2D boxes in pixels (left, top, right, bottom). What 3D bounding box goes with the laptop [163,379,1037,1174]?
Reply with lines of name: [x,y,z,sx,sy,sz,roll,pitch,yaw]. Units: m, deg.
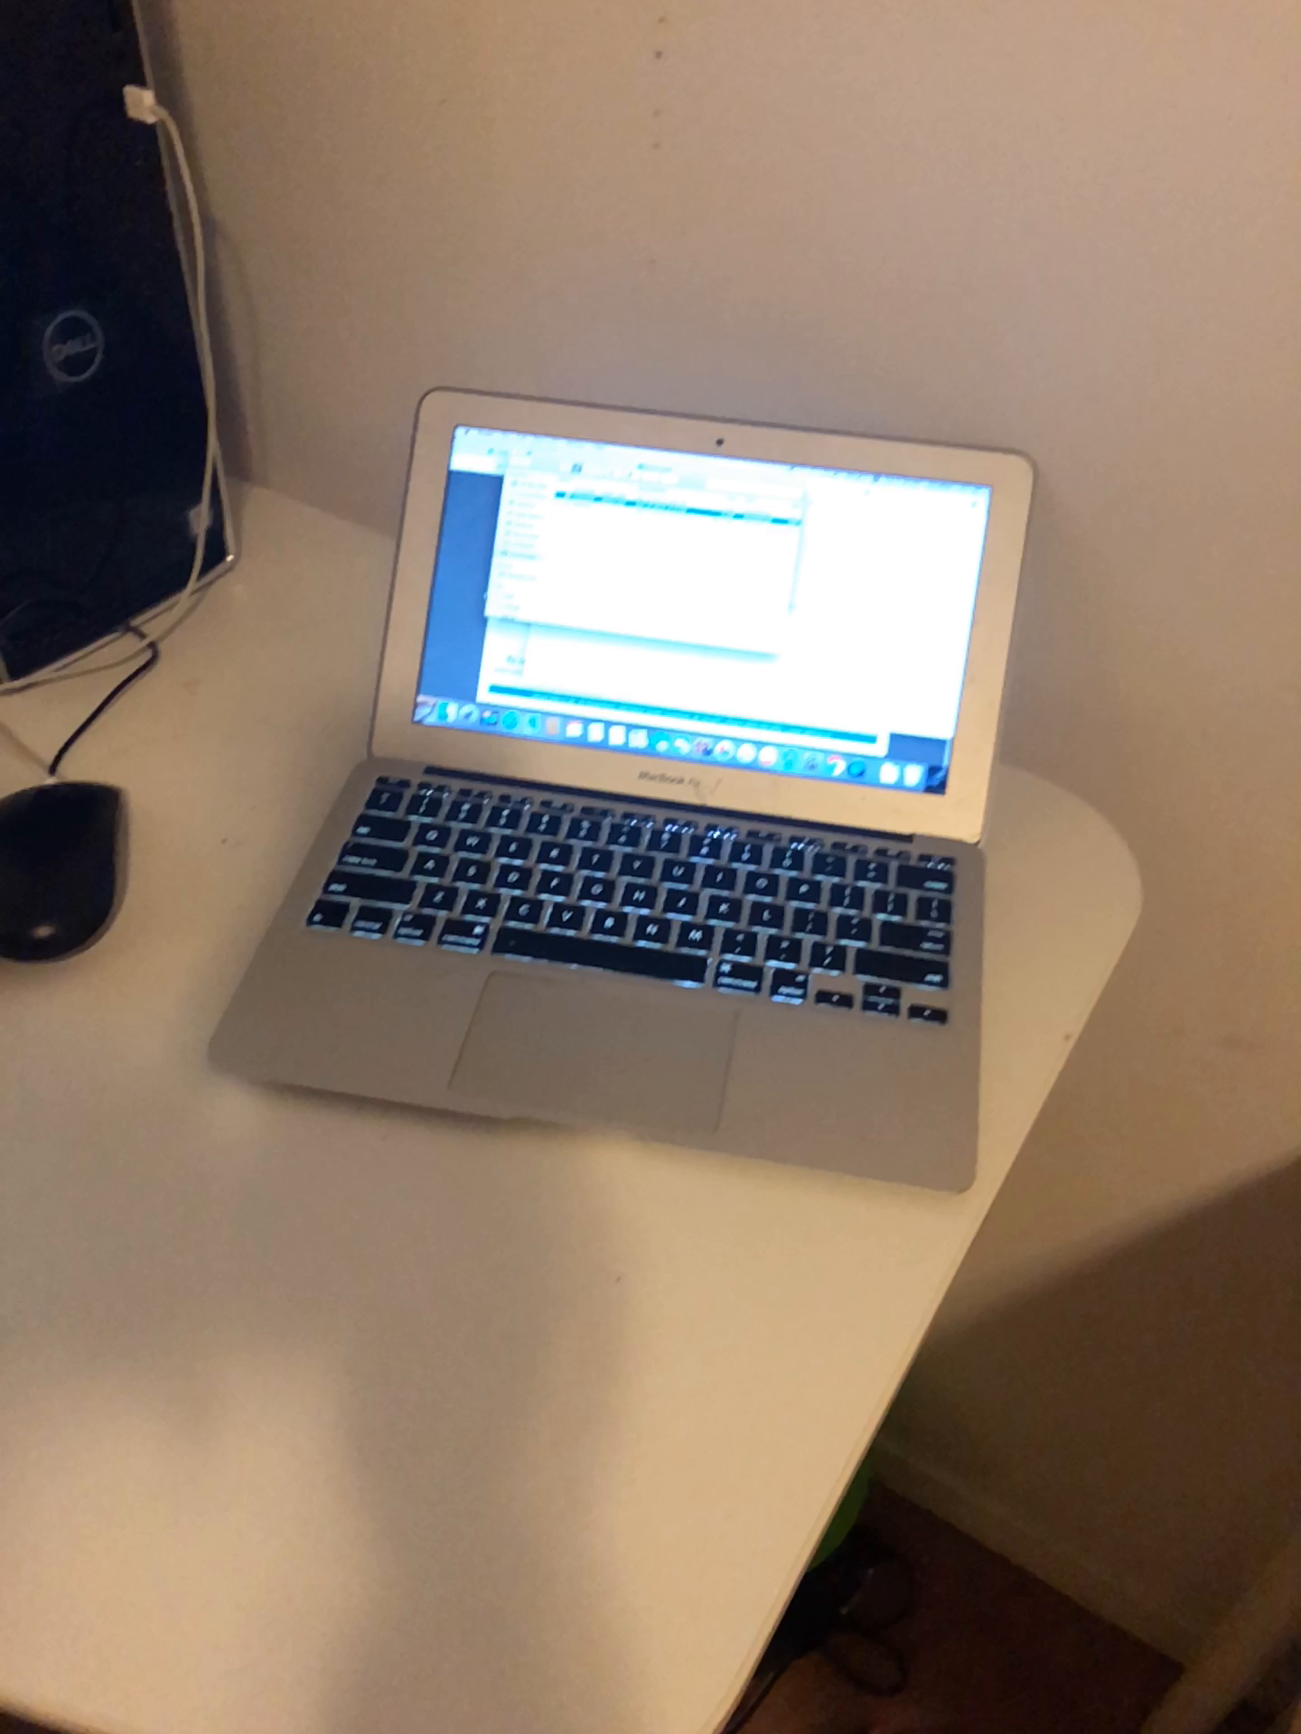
laptop: [0.006,-0.062,0.595,0.280,0.126,0.307,8,45,8]
